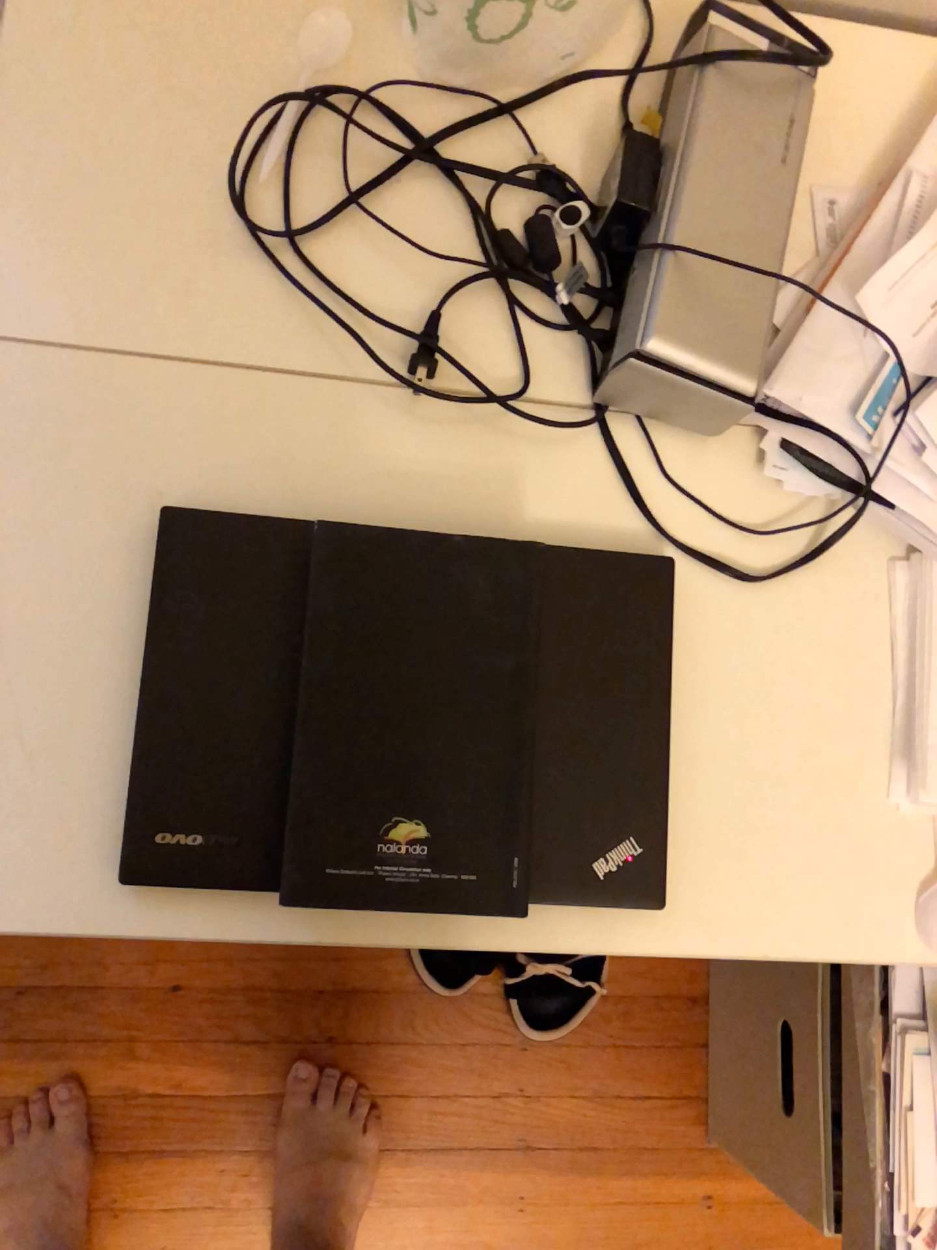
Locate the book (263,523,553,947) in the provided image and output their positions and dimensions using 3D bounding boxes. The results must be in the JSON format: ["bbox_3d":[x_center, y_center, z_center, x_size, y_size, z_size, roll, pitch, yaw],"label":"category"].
[{"bbox_3d":[-0.033,0.063,0.602,0.150,0.040,0.230,5,79,-8],"label":"book"}]
